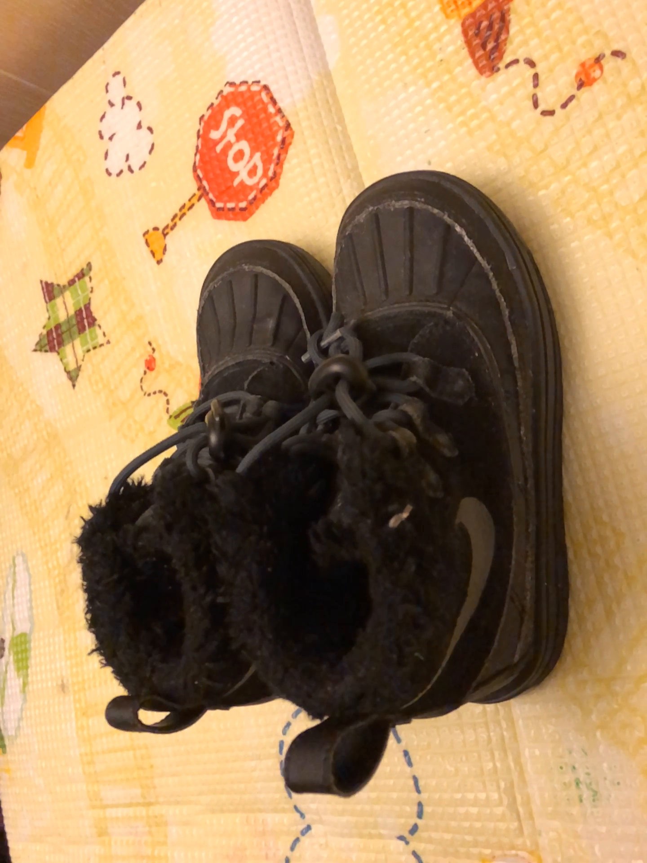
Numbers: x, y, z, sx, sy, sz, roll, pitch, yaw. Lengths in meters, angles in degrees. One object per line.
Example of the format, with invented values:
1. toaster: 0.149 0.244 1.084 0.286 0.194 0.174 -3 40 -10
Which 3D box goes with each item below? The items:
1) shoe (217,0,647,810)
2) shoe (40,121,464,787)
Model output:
1. shoe: 0.043 -0.012 0.249 0.090 0.109 0.220 -12 80 37
2. shoe: -0.029 0.011 0.295 0.090 0.119 0.210 -16 78 36
